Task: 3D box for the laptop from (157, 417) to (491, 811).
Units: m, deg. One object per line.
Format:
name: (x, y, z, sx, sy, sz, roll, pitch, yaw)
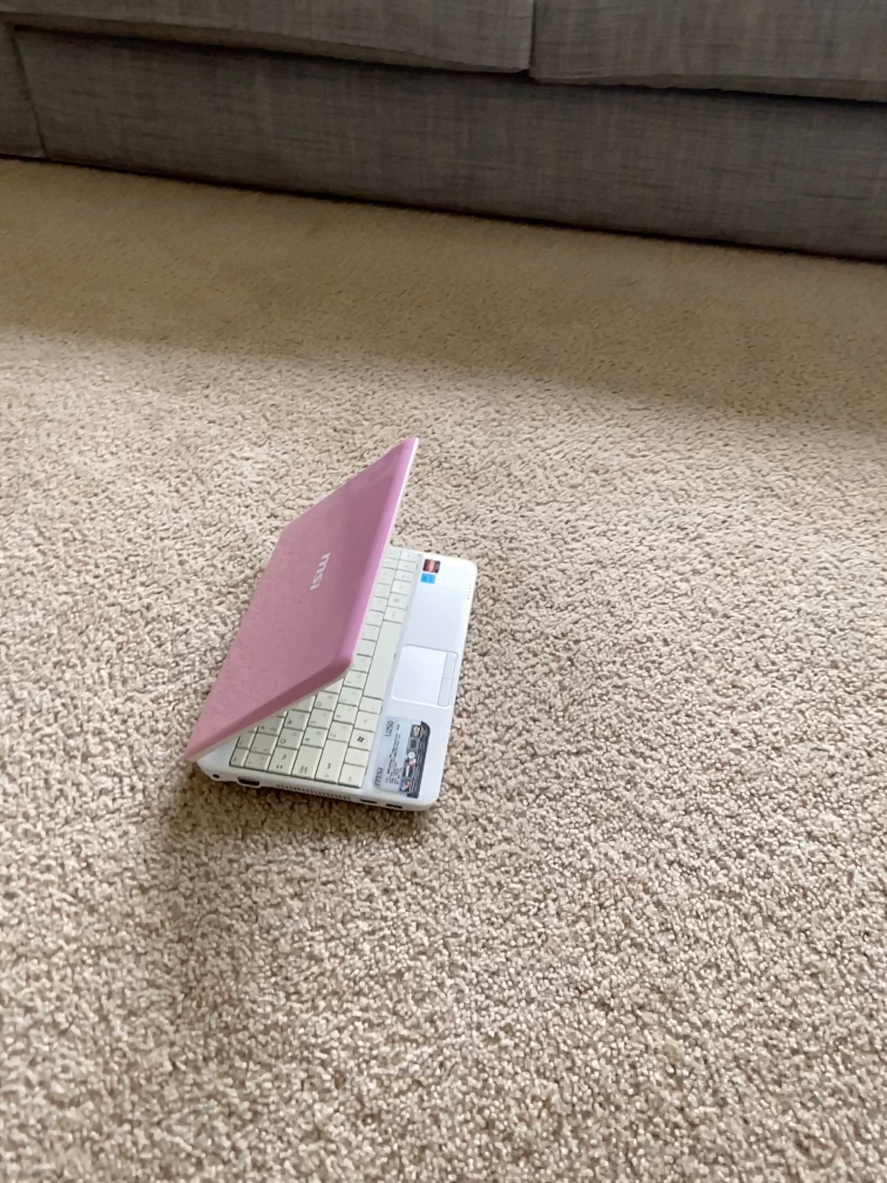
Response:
laptop: (-0.078, 0.004, 0.760, 0.197, 0.122, 0.298, 9, 44, 3)
